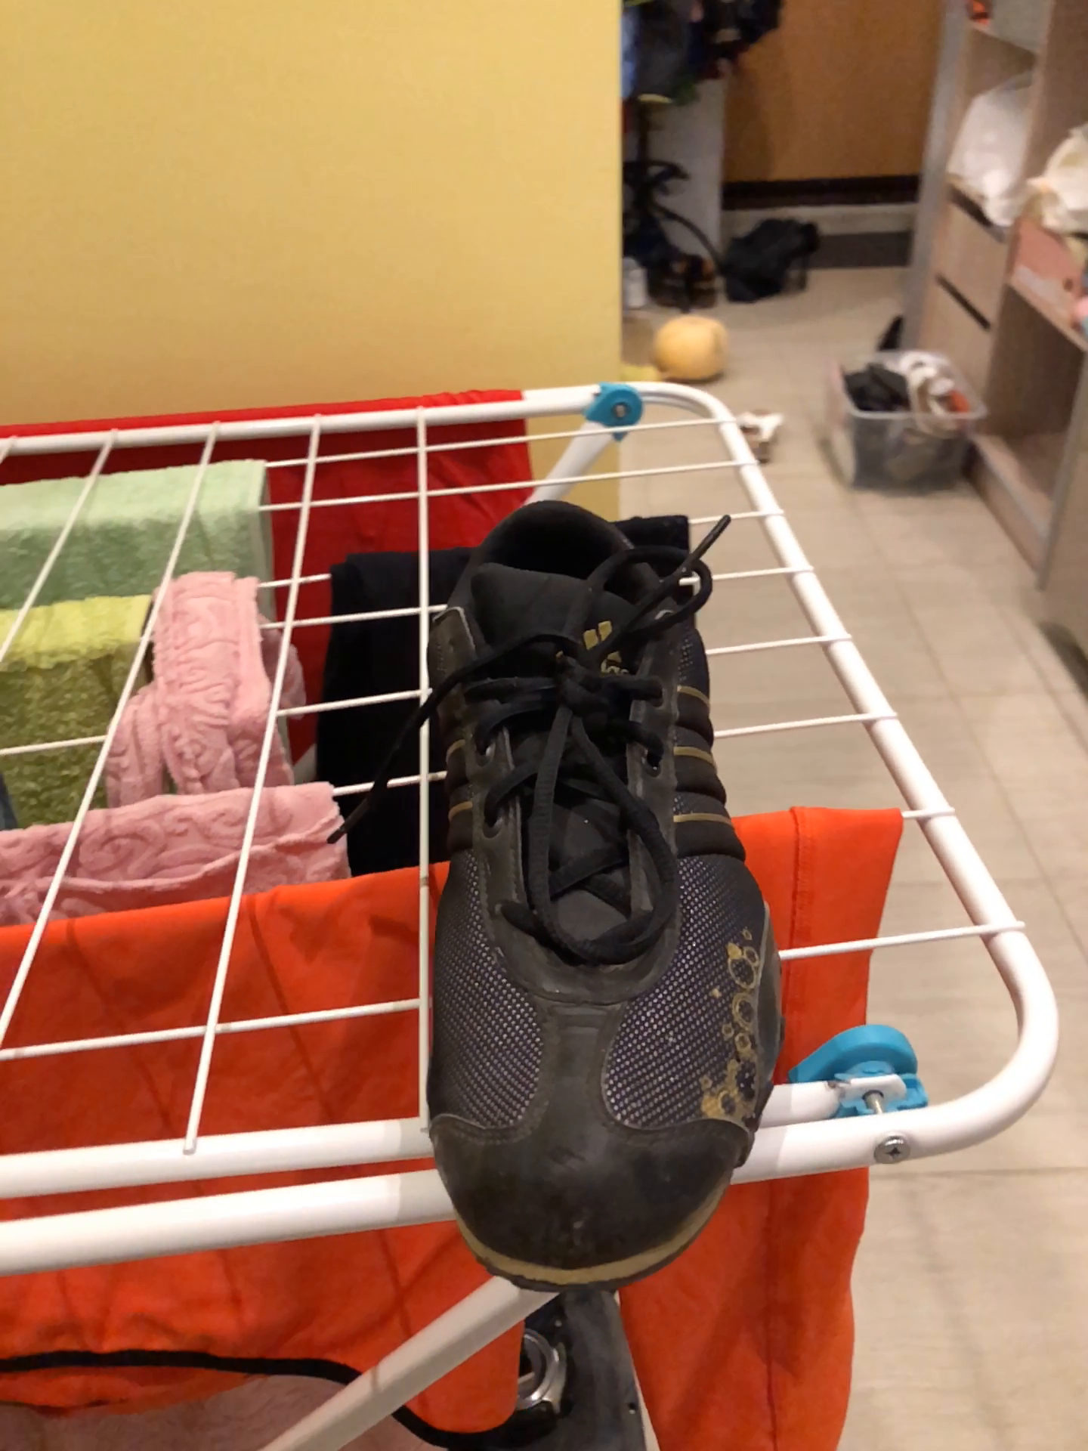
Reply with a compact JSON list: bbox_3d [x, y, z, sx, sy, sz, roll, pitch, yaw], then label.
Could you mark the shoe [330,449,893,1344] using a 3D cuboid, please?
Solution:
[{"bbox_3d":[0.015,0.021,0.344,0.098,0.099,0.262,-1,36,2],"label":"shoe"}]
